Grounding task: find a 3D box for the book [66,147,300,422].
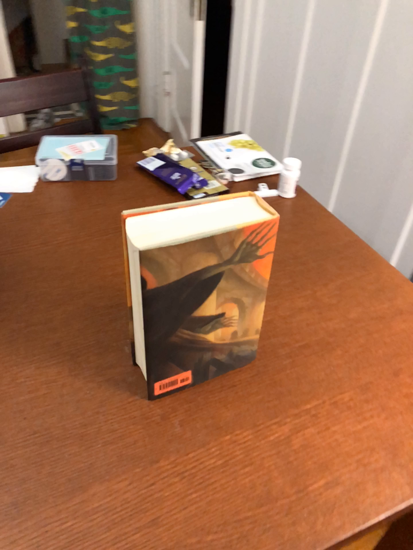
[{"bbox_3d":[-0.026,0.021,0.520,0.210,0.298,0.070,-13,42,-19],"label":"book"}]
